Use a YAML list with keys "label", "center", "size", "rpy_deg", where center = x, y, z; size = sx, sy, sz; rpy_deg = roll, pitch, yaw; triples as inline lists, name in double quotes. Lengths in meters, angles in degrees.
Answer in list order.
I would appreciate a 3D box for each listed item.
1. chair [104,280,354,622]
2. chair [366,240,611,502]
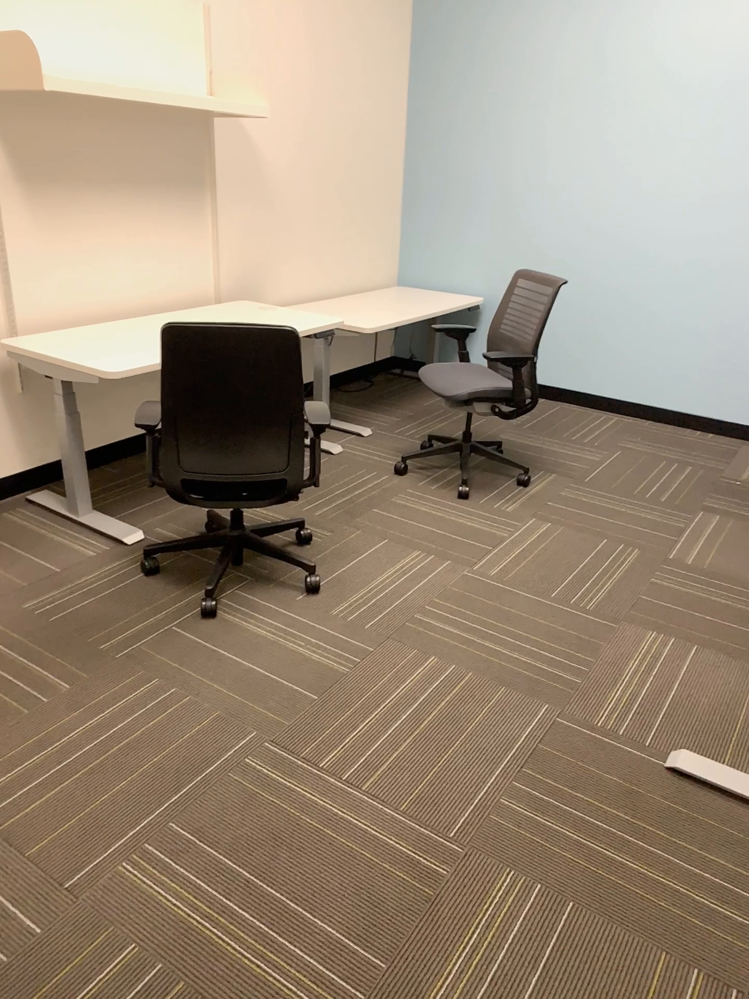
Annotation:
- label: "chair"
  center: [-0.493, -0.213, 2.641]
  size: [0.680, 0.935, 0.775]
  rpy_deg: [-2, 24, -12]
- label: "chair"
  center: [0.457, -0.645, 3.596]
  size: [0.770, 0.995, 0.895]
  rpy_deg: [-3, 24, -13]
